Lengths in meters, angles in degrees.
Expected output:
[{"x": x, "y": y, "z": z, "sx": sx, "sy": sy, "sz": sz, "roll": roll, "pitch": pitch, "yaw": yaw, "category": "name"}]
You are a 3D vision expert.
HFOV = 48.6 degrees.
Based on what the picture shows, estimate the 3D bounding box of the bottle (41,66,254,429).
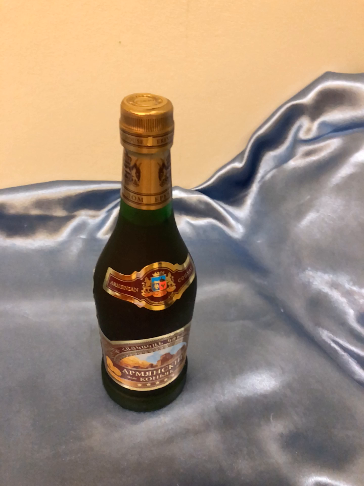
[{"x": -0.025, "y": 0.025, "z": 0.271, "sx": 0.080, "sy": 0.247, "sz": 0.074, "roll": 2, "pitch": 43, "yaw": -2, "category": "bottle"}]
